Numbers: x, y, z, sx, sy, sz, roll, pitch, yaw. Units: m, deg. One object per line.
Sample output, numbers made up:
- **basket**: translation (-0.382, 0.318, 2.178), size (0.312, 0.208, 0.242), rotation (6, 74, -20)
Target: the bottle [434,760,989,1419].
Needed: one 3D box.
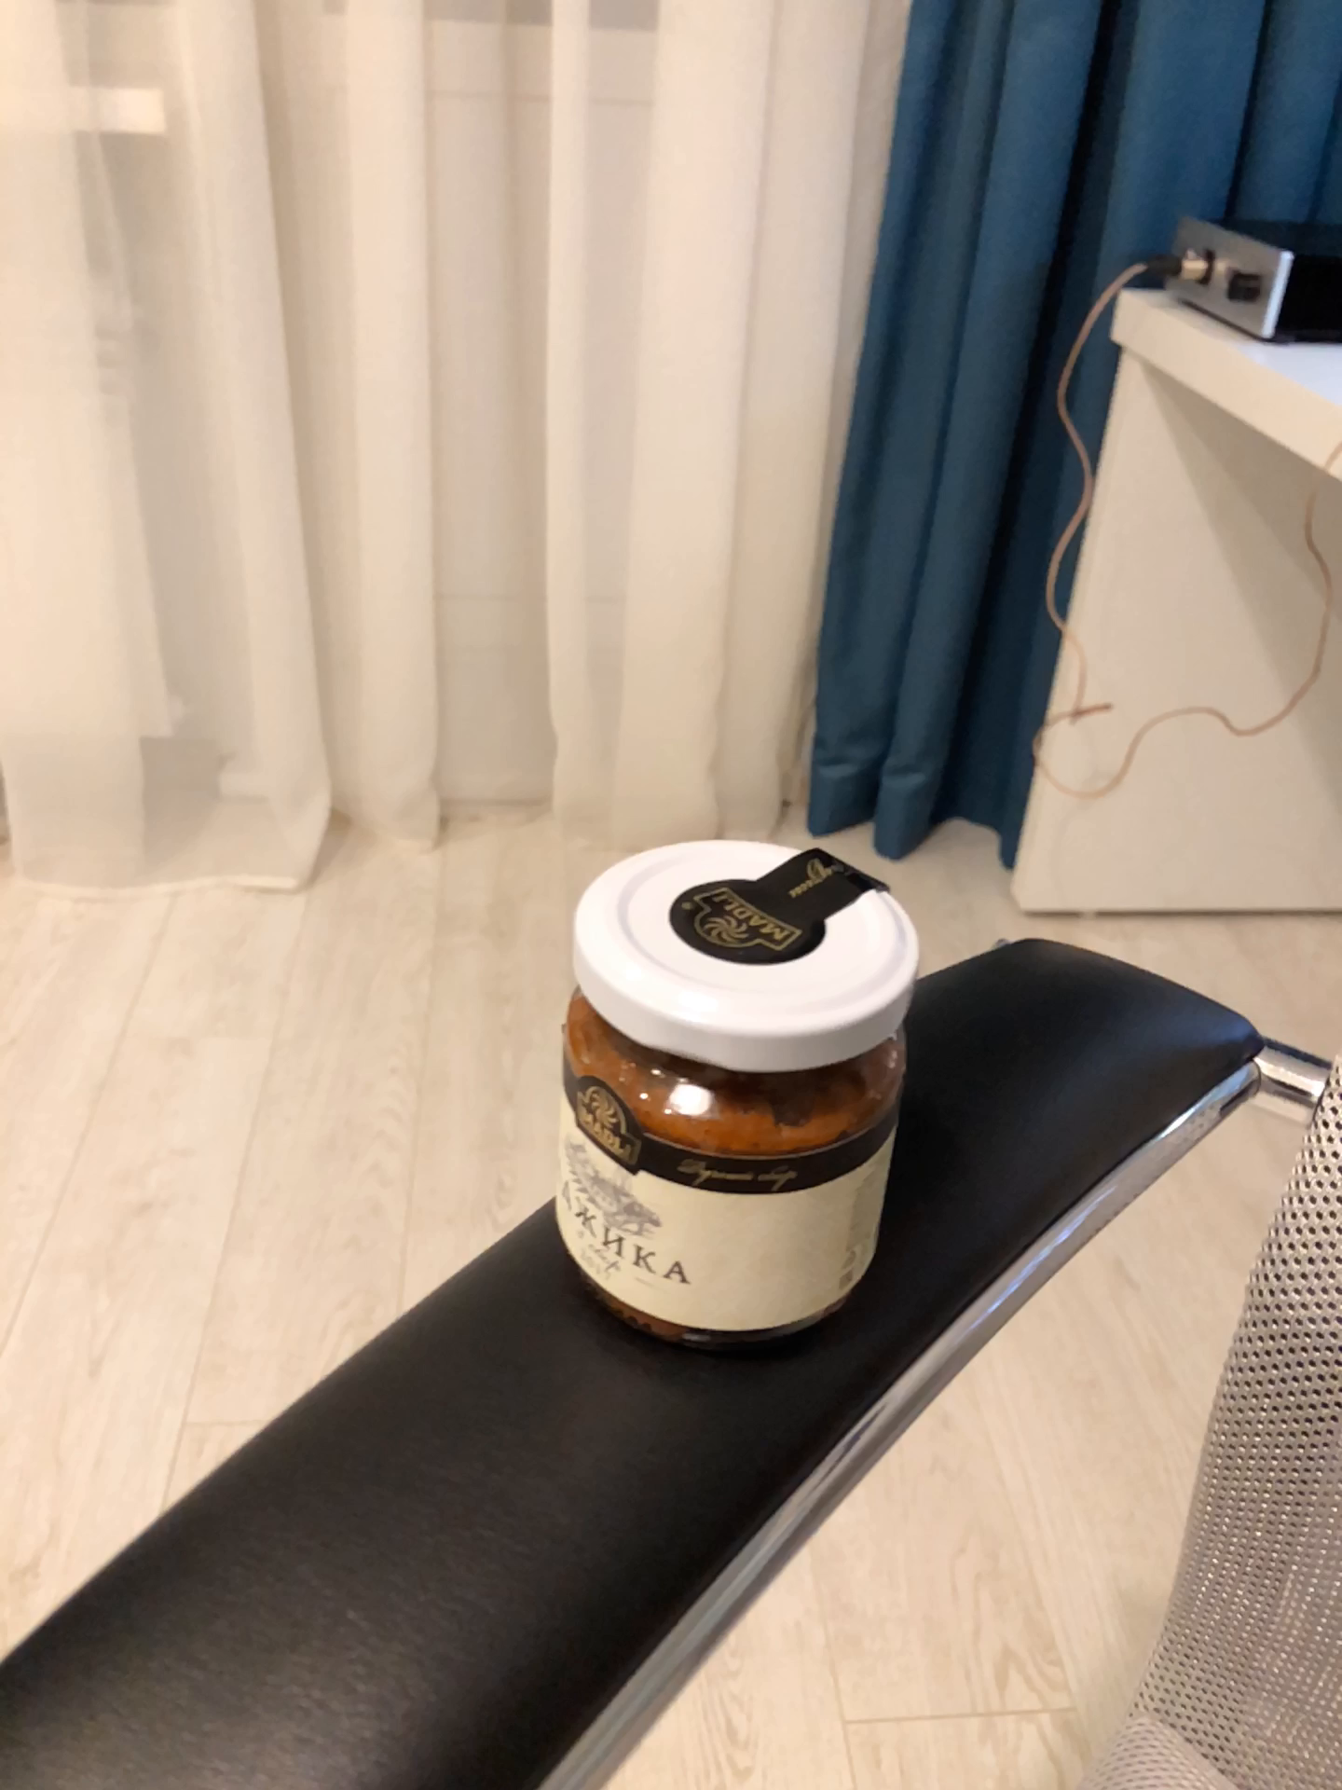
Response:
- **bottle**: translation (0.004, 0.028, 0.243), size (0.060, 0.070, 0.060), rotation (-20, 37, -33)
